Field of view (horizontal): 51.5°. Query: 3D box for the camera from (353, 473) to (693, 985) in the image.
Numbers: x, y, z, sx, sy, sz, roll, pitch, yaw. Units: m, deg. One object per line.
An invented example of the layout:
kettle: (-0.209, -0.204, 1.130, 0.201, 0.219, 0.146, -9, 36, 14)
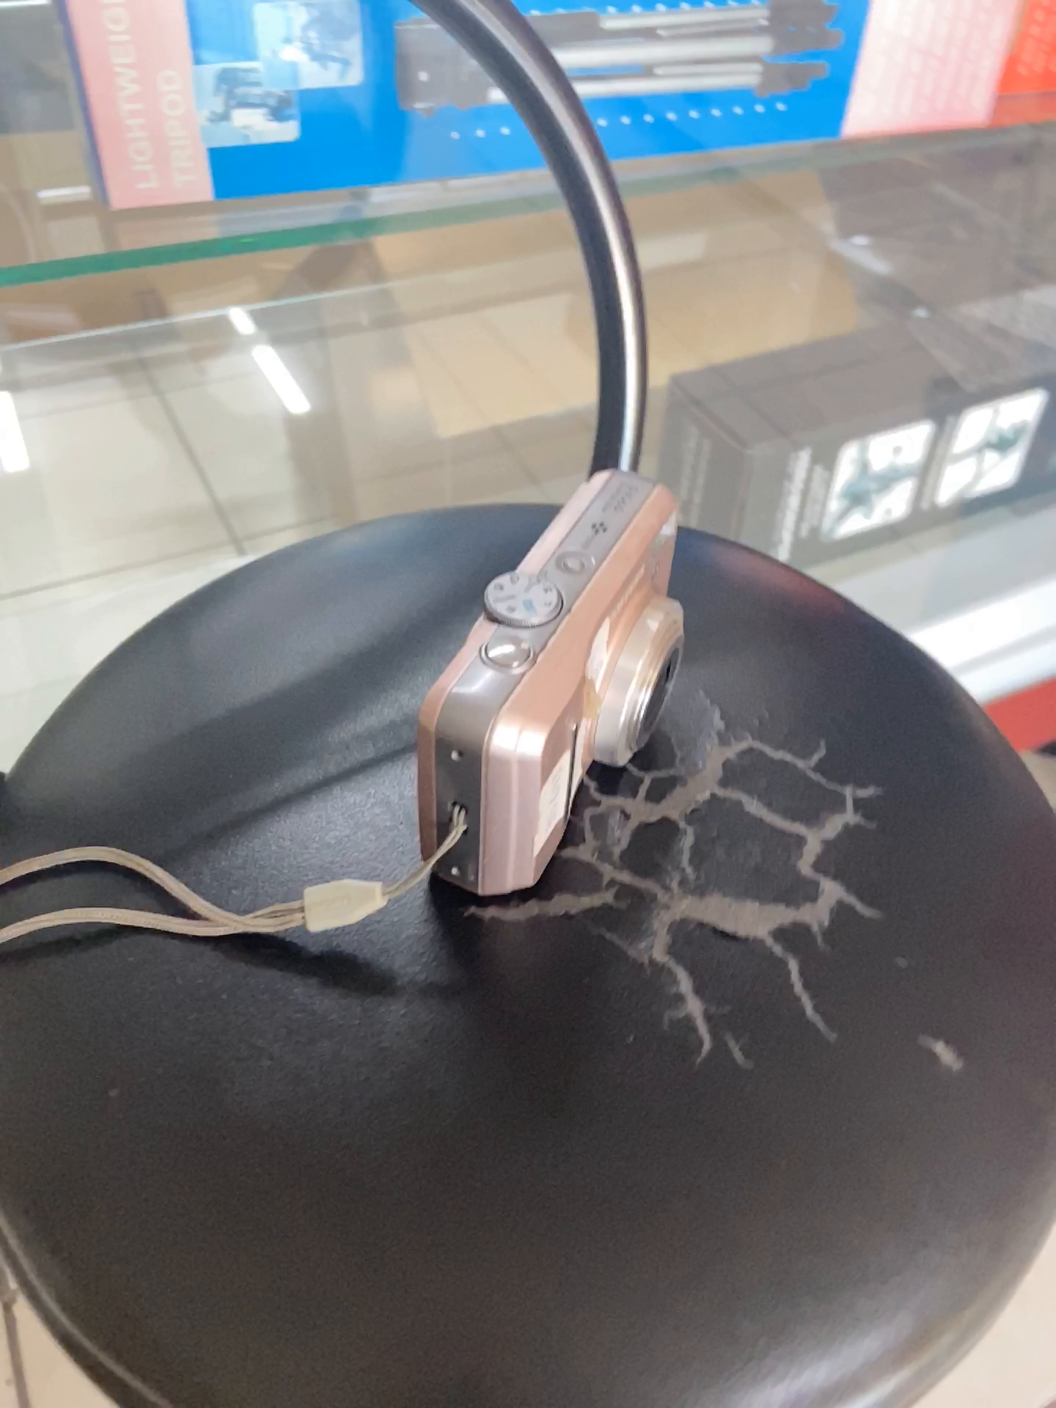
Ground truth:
camera: (0.002, 0.003, 0.270, 0.040, 0.070, 0.101, 18, 47, 15)
